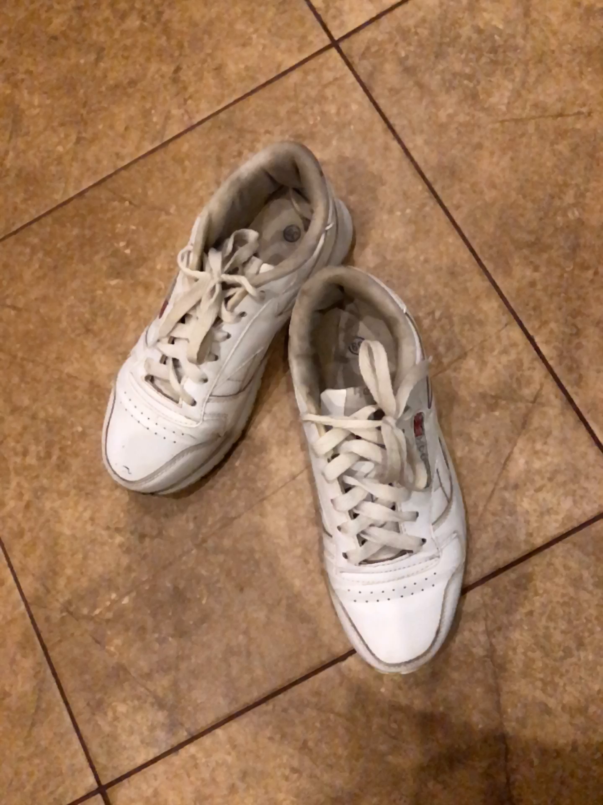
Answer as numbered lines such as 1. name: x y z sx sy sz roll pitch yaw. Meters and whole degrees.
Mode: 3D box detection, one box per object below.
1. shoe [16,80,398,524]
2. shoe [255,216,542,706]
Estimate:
1. shoe: -0.049 -0.057 0.445 0.100 0.100 0.260 33 86 13
2. shoe: 0.053 0.033 0.410 0.110 0.100 0.250 -10 78 7
